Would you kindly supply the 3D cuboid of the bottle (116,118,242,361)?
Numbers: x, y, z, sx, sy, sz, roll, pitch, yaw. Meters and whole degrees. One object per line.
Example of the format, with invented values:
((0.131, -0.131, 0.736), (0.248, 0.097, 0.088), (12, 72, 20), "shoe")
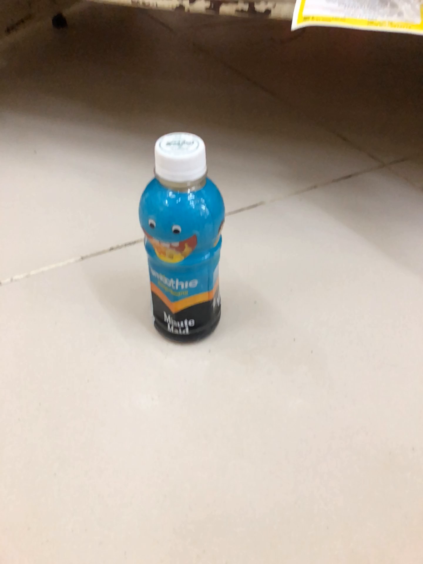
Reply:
((-0.018, -0.023, 0.330), (0.060, 0.159, 0.060), (1, 42, -1), "bottle")
